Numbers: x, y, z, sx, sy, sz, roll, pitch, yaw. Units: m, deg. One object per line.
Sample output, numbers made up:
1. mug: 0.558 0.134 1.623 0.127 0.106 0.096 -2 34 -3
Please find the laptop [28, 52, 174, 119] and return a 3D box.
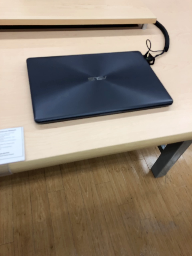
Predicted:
1. laptop: 0.005 -0.133 0.569 0.346 0.002 0.229 -9 53 -15
